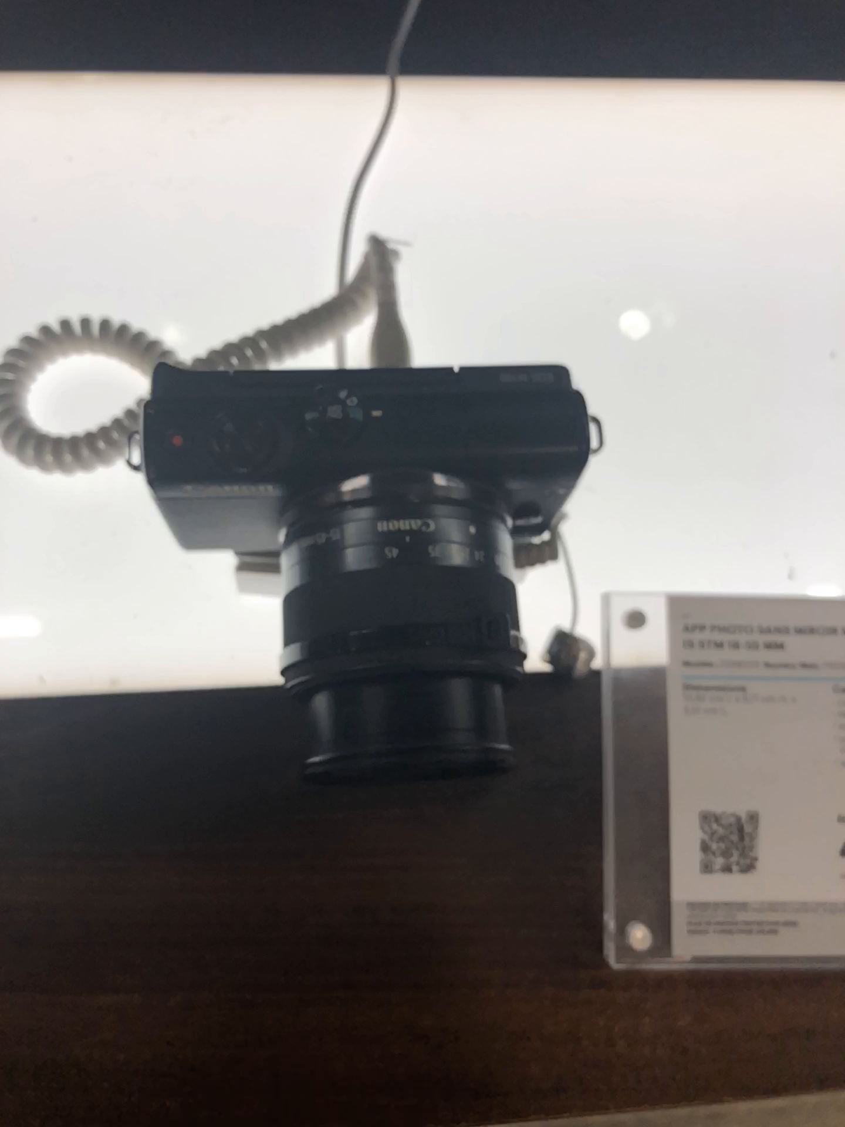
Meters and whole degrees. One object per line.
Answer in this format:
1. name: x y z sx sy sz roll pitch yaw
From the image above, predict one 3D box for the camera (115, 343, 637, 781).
1. camera: -0.014 0.002 0.256 0.112 0.071 0.094 -2 68 -5
